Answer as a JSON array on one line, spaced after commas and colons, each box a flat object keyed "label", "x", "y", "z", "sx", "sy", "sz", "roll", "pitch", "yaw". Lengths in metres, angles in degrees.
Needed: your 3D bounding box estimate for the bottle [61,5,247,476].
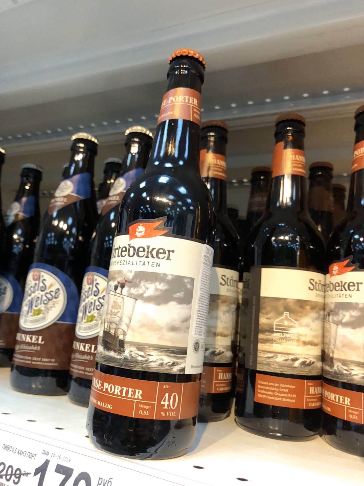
[{"label": "bottle", "x": -0.011, "y": -0.010, "z": 0.284, "sx": 0.070, "sy": 0.281, "sz": 0.070, "roll": 6, "pitch": -11, "yaw": 1}]
